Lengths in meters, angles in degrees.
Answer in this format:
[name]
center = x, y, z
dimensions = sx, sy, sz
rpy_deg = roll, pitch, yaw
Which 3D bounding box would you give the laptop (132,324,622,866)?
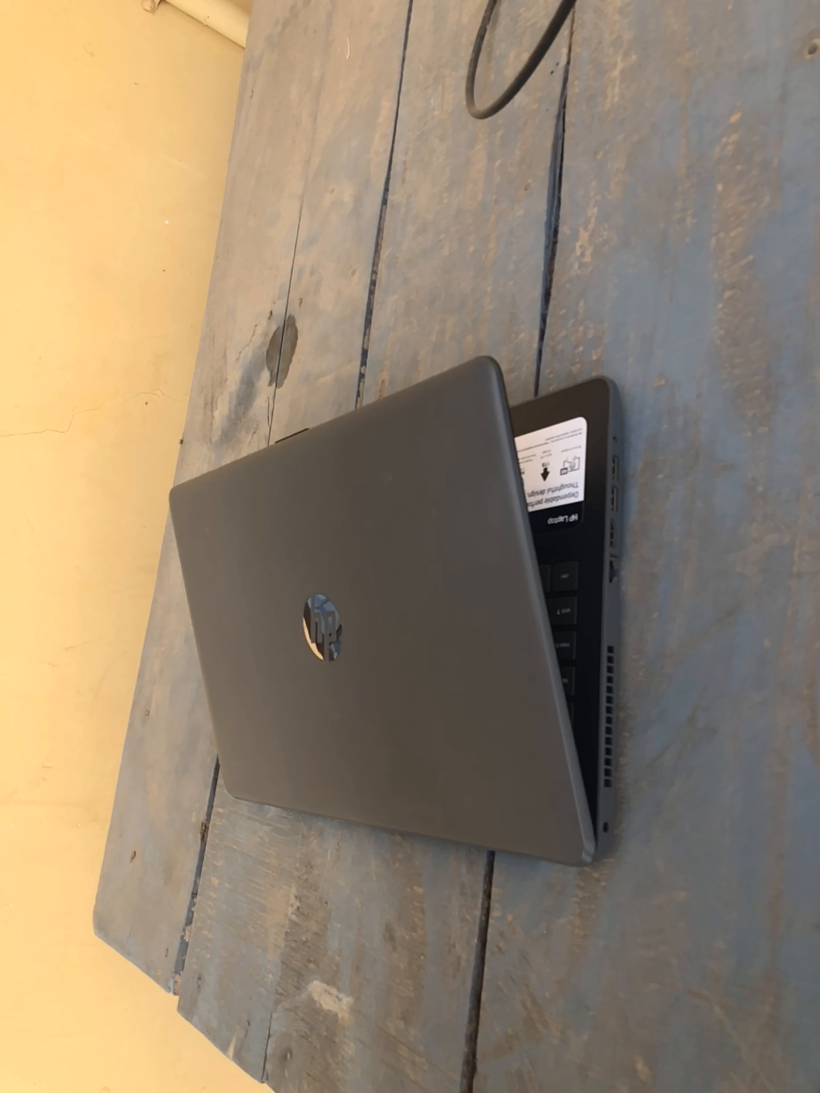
[laptop]
center = -0.045, 0.045, 0.566
dimensions = 0.362, 0.096, 0.243
rpy_deg = -11, 69, 52
